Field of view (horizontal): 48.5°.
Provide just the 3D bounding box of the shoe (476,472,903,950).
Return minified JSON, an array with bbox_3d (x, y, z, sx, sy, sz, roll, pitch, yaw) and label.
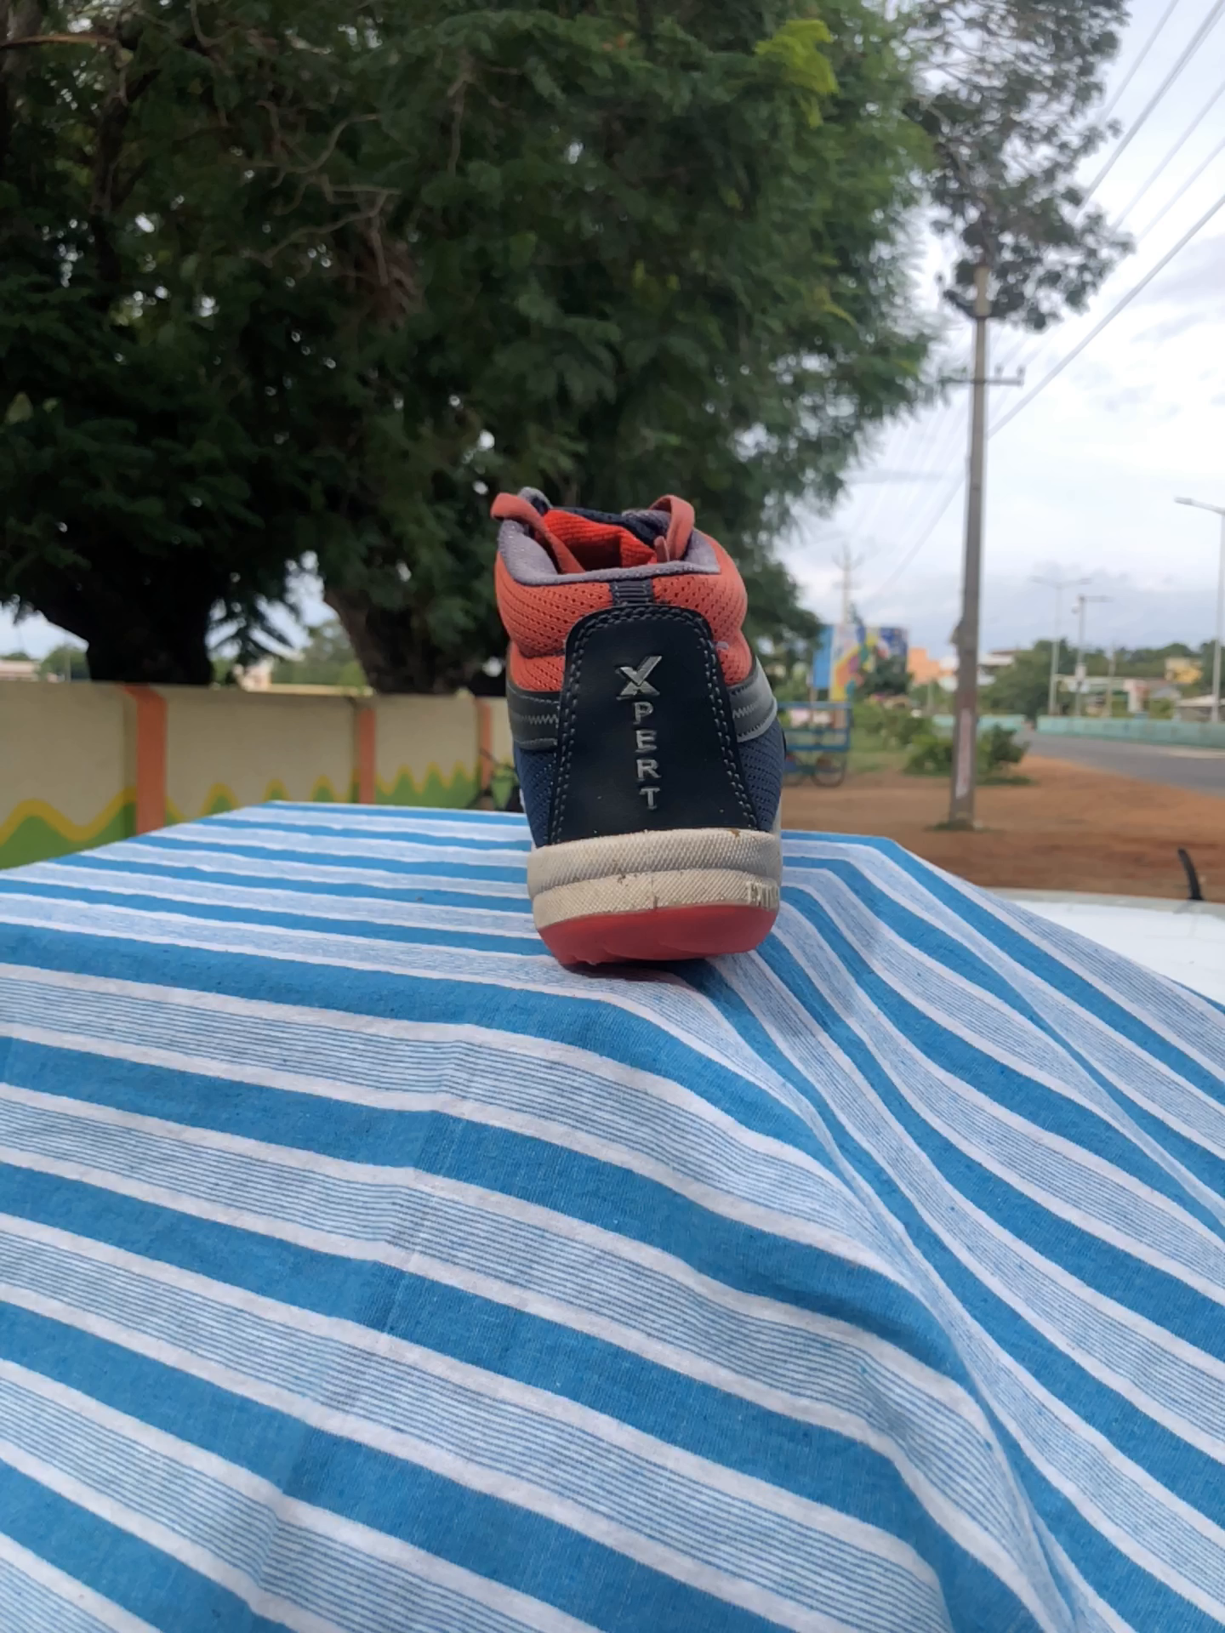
[{"bbox_3d":[0.007,-0.036,0.482,0.100,0.120,0.270,1,4,-7],"label":"shoe"}]
